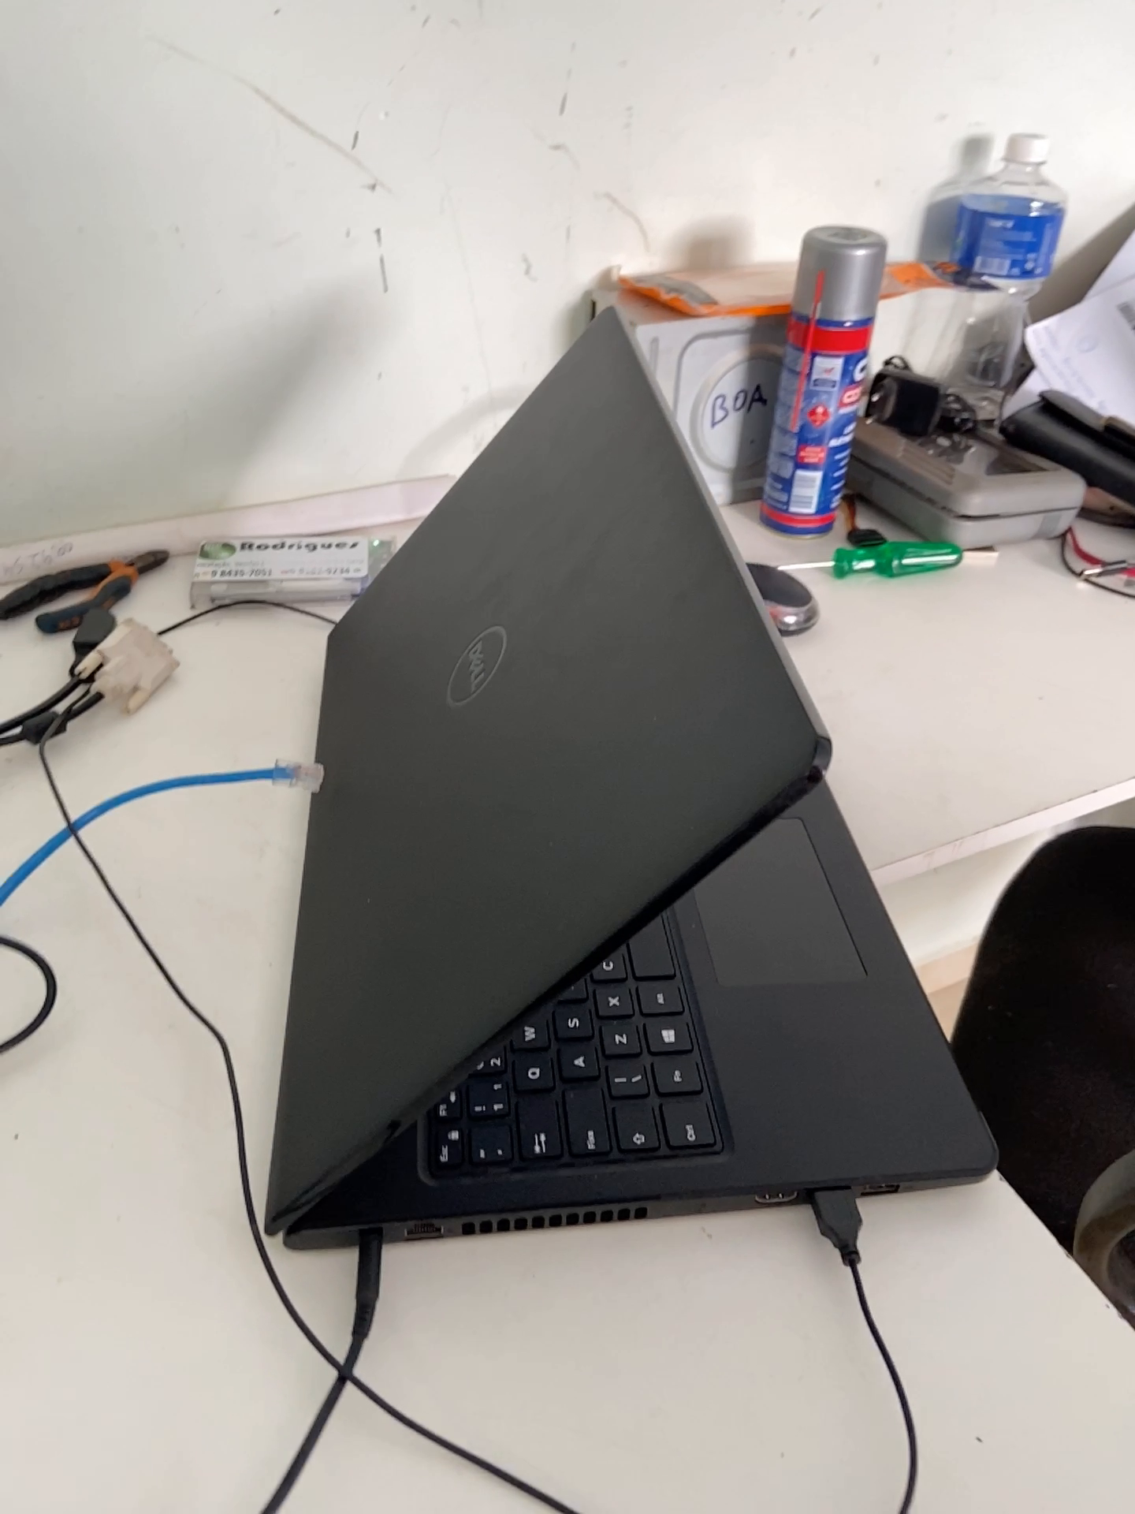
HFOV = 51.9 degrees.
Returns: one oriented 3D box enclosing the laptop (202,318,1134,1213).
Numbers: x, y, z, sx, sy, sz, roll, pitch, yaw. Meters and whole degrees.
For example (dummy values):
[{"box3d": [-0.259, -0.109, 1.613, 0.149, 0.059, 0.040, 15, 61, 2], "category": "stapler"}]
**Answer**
[{"box3d": [0.009, -0.037, 0.507, 0.255, 0.192, 0.374, -3, 37, -7], "category": "laptop"}]
